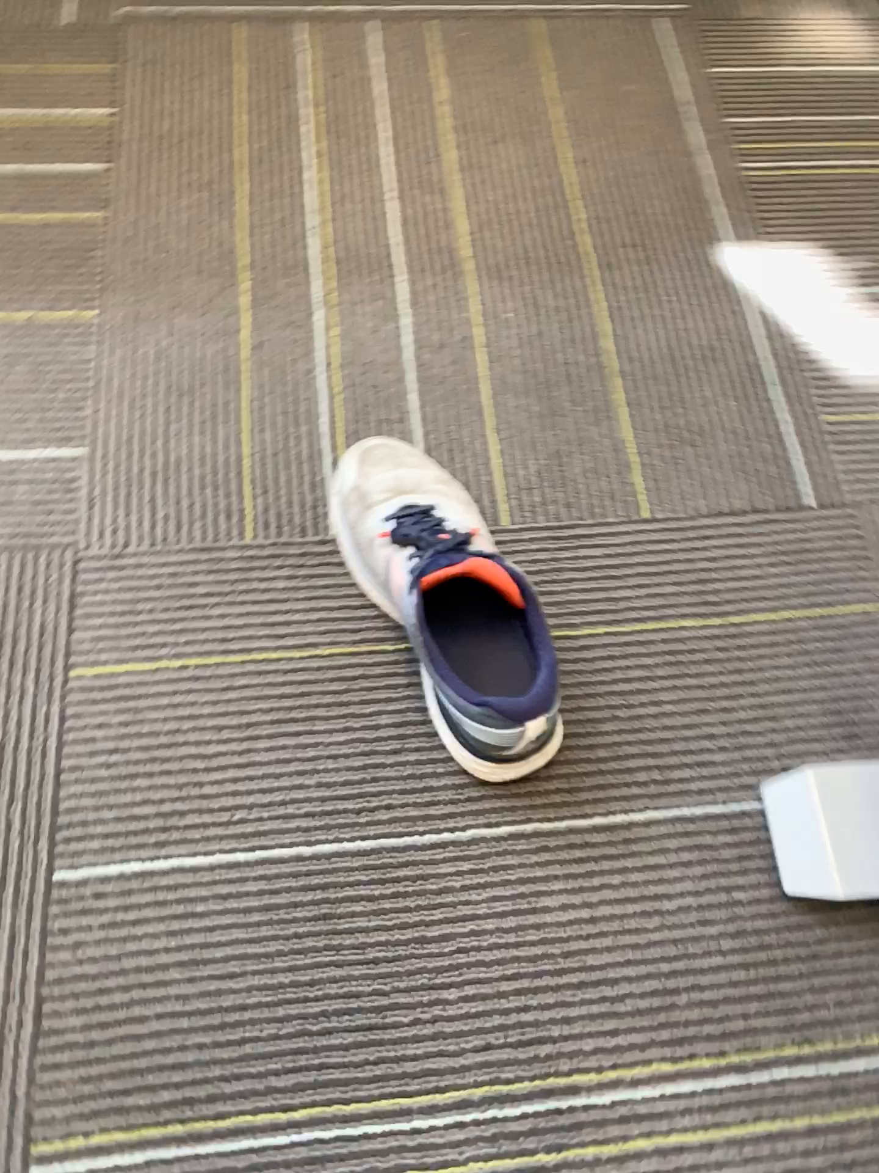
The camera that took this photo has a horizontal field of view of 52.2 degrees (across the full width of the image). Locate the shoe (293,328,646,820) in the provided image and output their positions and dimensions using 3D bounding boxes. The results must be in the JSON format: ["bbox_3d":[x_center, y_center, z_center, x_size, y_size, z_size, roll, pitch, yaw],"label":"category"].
[{"bbox_3d":[0.007,-0.013,0.612,0.110,0.110,0.301,-20,68,-12],"label":"shoe"}]
